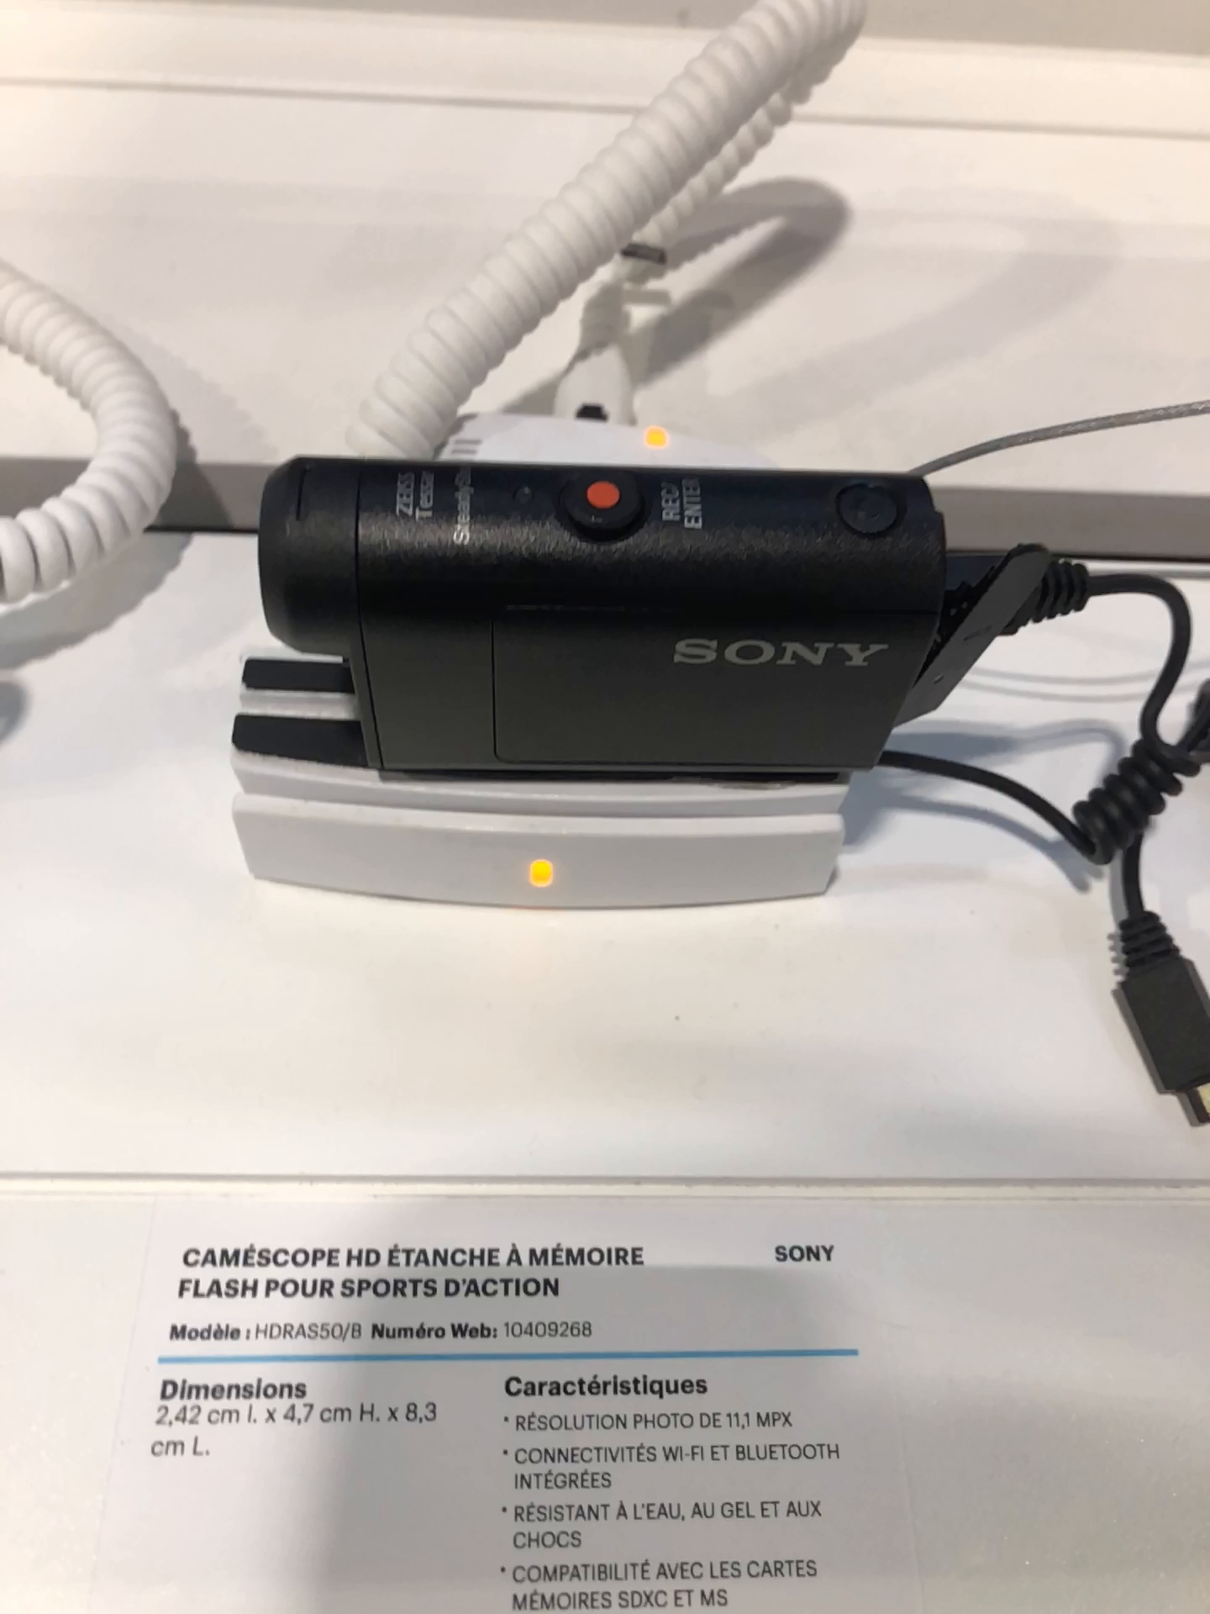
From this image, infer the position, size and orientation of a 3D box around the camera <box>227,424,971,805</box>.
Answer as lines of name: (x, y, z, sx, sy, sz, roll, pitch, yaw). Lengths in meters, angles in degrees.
camera: (-0.001, -0.022, 0.170, 0.080, 0.045, 0.020, 1, 56, -2)
